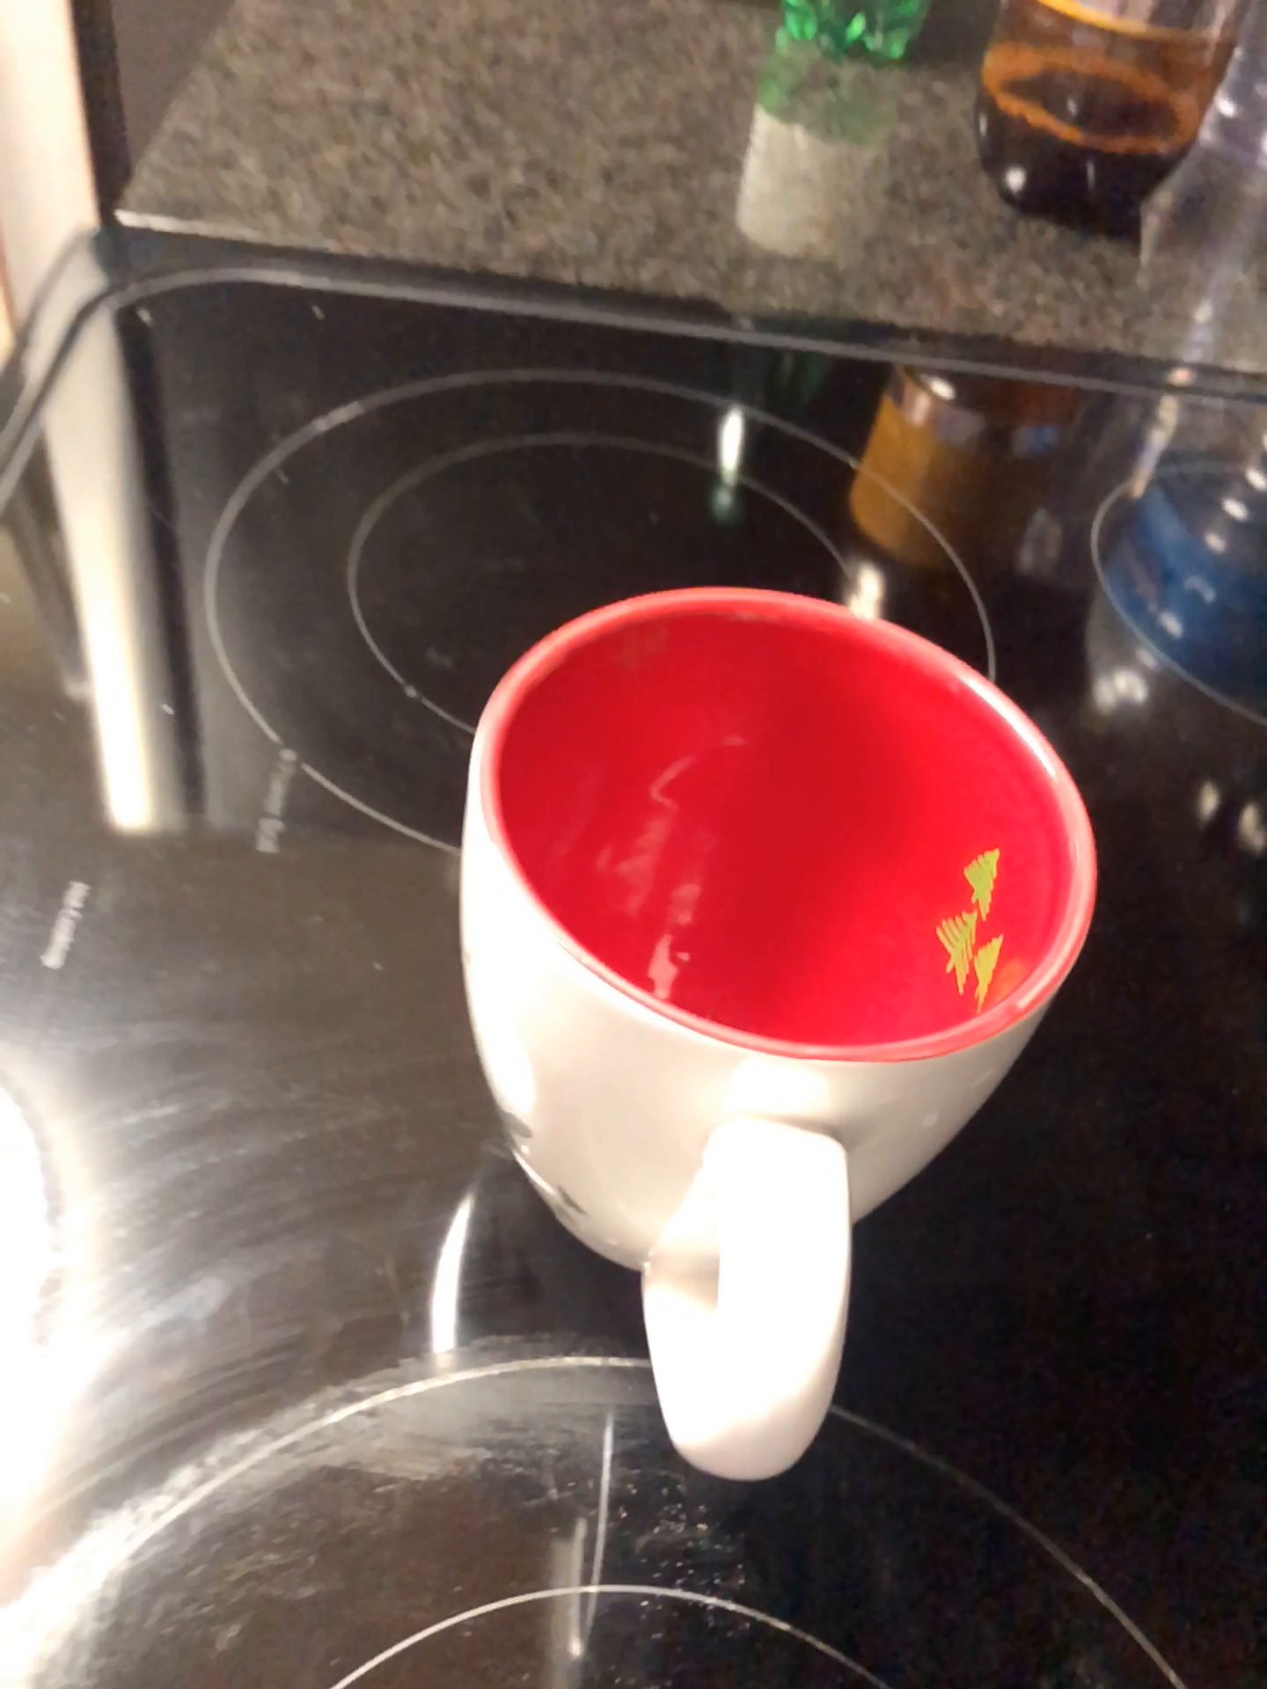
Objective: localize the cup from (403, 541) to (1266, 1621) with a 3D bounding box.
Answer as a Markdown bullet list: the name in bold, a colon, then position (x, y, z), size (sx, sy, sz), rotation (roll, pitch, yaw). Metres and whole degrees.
- **cup**: position (0.019, 0.038, 0.237), size (0.100, 0.100, 0.141), rotation (5, 48, -6)
